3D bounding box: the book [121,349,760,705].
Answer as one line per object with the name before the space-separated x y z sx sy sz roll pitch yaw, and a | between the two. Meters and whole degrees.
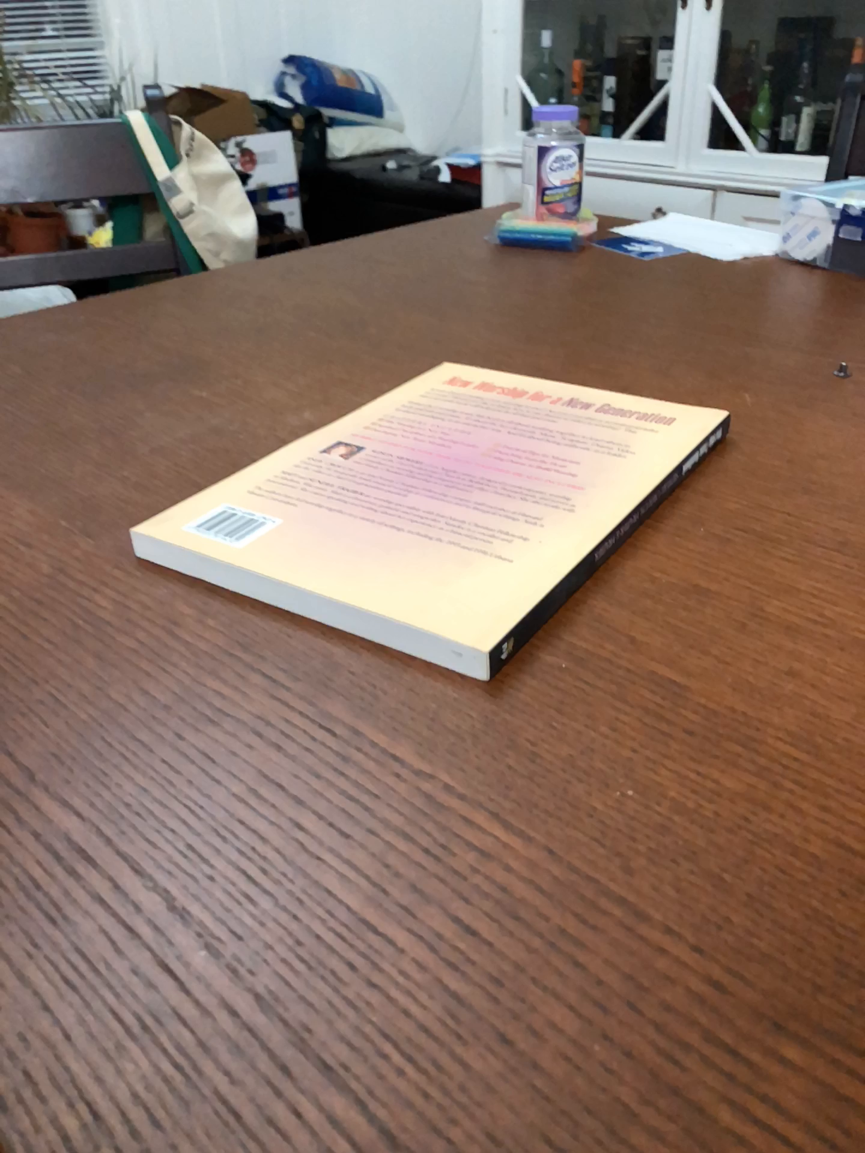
book | 0.021 -0.050 0.460 0.190 0.020 0.271 17 35 29
